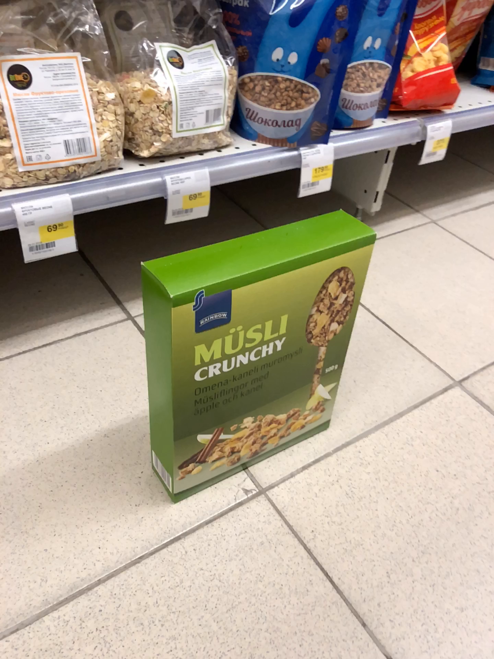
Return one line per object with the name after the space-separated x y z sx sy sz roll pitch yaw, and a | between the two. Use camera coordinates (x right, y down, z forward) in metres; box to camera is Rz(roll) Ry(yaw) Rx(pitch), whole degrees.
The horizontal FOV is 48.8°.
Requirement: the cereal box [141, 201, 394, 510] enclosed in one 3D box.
0.013 0.028 0.491 0.200 0.249 0.050 -19 45 -28 | cereal box
